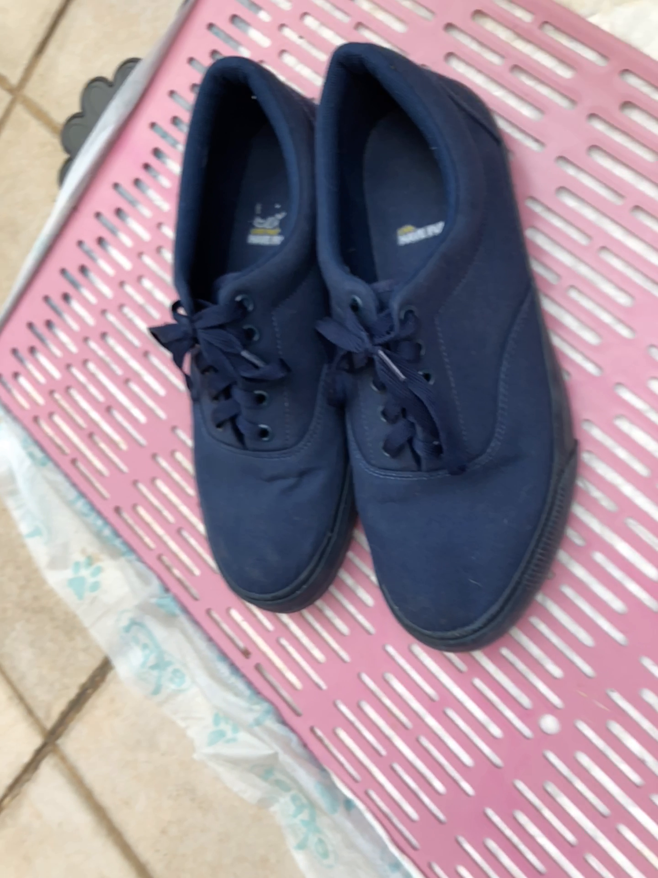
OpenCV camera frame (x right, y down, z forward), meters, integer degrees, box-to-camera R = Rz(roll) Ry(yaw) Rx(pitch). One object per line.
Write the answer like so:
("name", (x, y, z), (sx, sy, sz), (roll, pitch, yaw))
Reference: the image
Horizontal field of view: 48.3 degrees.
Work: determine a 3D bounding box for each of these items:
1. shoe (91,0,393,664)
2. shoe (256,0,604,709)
("shoe", (-0.038, -0.046, 0.362), (0.107, 0.100, 0.270), (1, 90, 25))
("shoe", (0.049, -0.036, 0.328), (0.107, 0.100, 0.270), (-6, 87, 25))
